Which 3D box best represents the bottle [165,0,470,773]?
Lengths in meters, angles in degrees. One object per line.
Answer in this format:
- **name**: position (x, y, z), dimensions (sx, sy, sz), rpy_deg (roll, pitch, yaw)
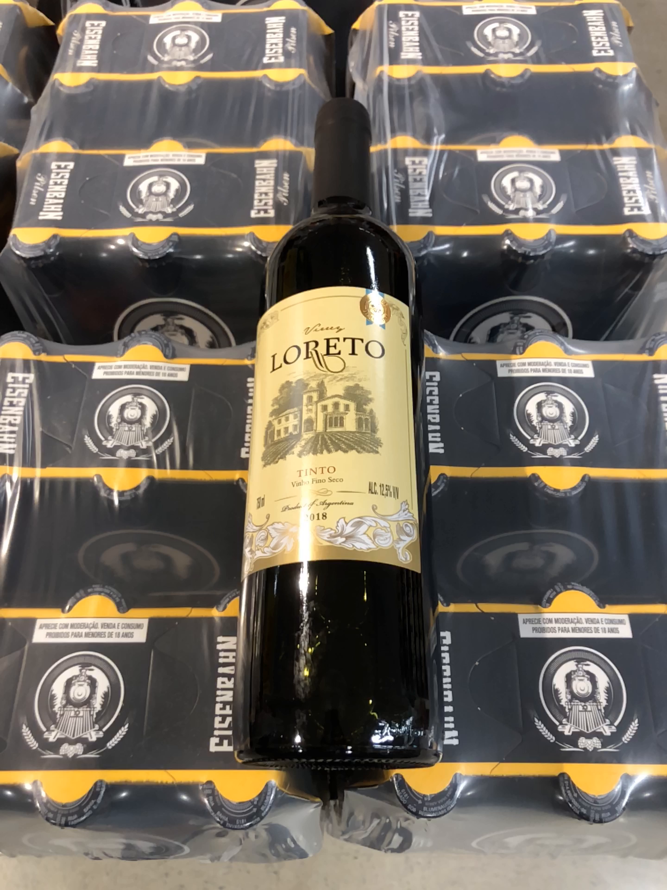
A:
- **bottle**: position (0.001, -0.046, 0.310), dimensions (0.080, 0.080, 0.331), rpy_deg (-6, 63, 12)
